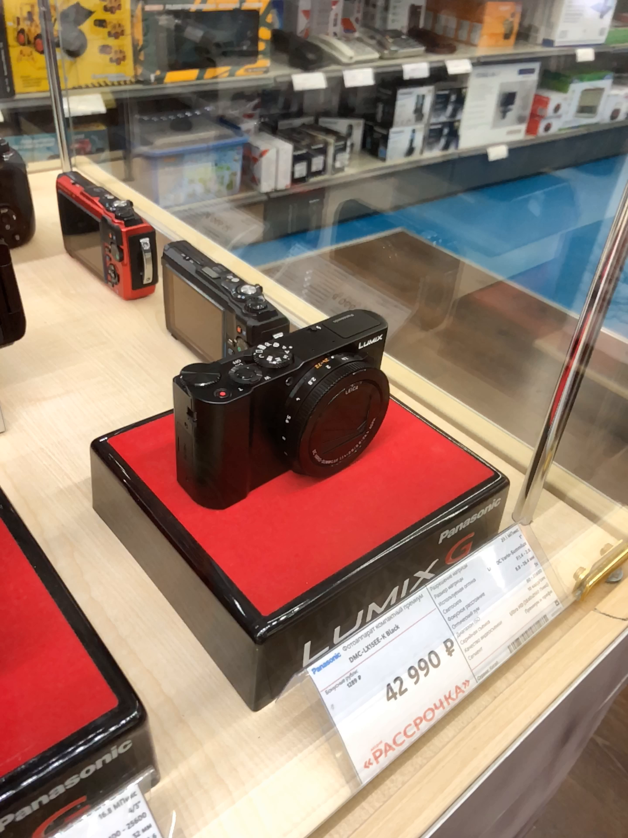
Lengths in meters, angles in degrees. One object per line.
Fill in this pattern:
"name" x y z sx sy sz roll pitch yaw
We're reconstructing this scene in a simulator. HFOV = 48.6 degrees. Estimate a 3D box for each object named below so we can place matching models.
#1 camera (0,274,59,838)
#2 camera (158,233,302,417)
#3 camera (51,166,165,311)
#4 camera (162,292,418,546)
"camera" -0.144 0.038 0.189 0.110 0.112 0.066 -25 47 -34
"camera" -0.057 -0.064 0.451 0.033 0.072 0.110 -23 46 -33
"camera" -0.162 -0.144 0.548 0.033 0.072 0.110 -24 46 -34
"camera" -0.009 -0.004 0.316 0.110 0.070 0.040 -27 48 -36
